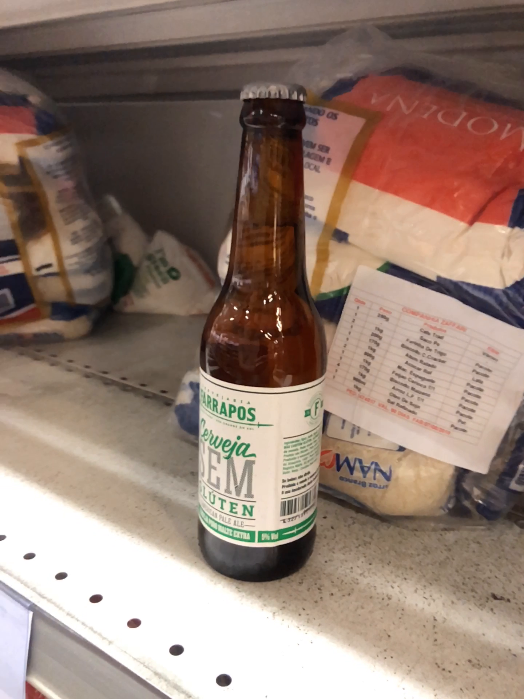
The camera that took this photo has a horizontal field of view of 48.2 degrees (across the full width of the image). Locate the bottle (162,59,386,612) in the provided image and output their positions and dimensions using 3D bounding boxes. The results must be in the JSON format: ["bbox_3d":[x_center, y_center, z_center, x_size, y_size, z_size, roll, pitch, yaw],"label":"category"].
[{"bbox_3d":[0.002,-0.004,0.275,0.070,0.229,0.060,14,22,33],"label":"bottle"}]
